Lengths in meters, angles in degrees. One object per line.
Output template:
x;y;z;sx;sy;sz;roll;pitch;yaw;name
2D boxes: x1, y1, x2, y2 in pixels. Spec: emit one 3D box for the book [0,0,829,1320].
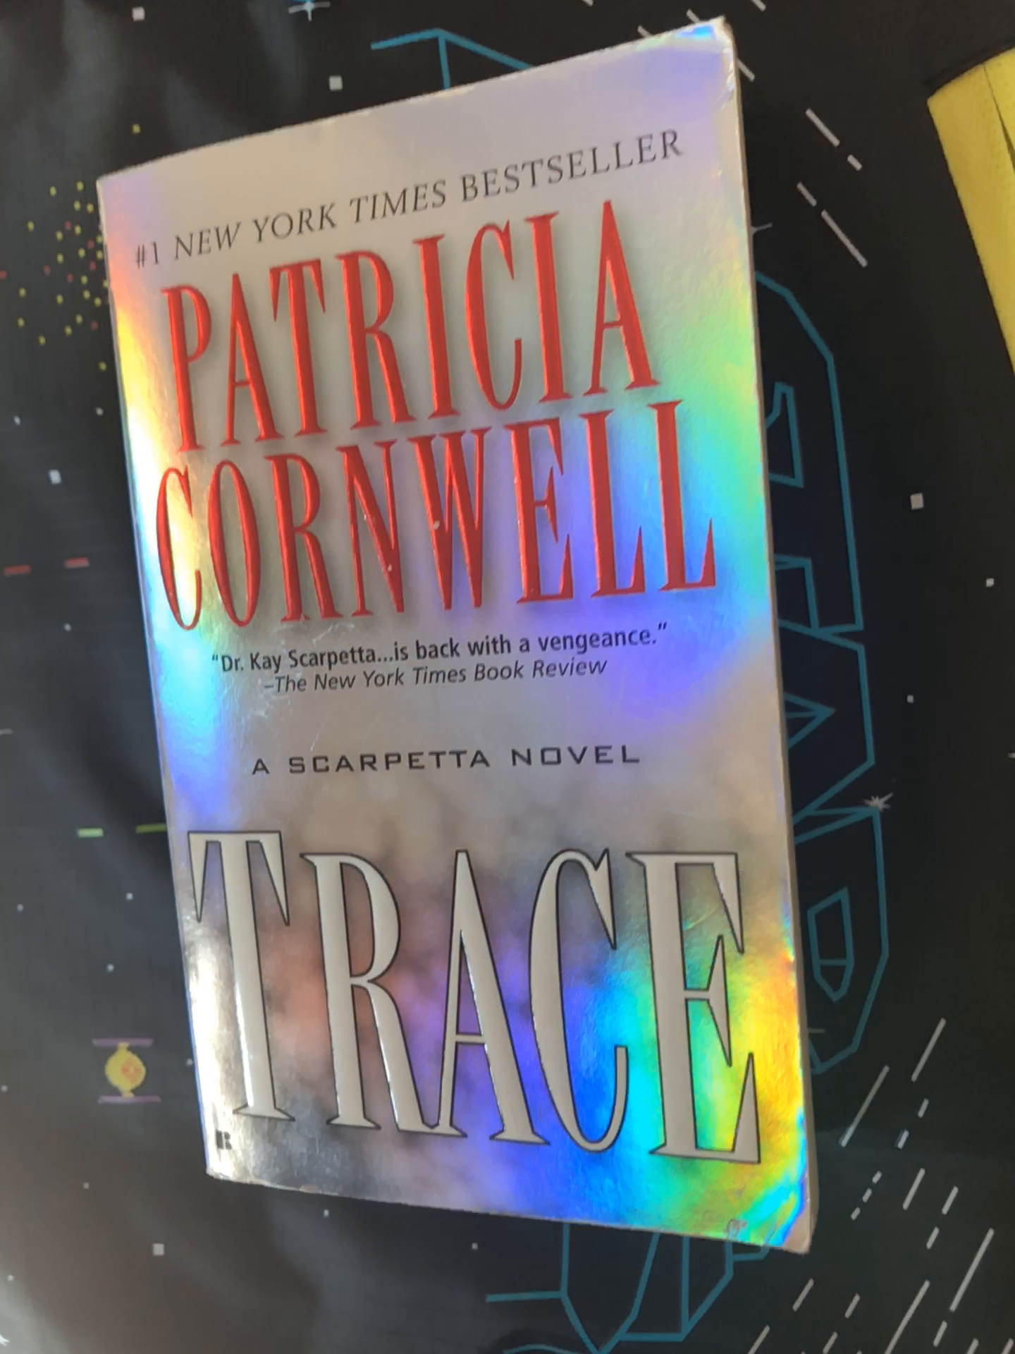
-0.019;-0.002;0.181;0.120;0.040;0.170;-3;94;23;book
